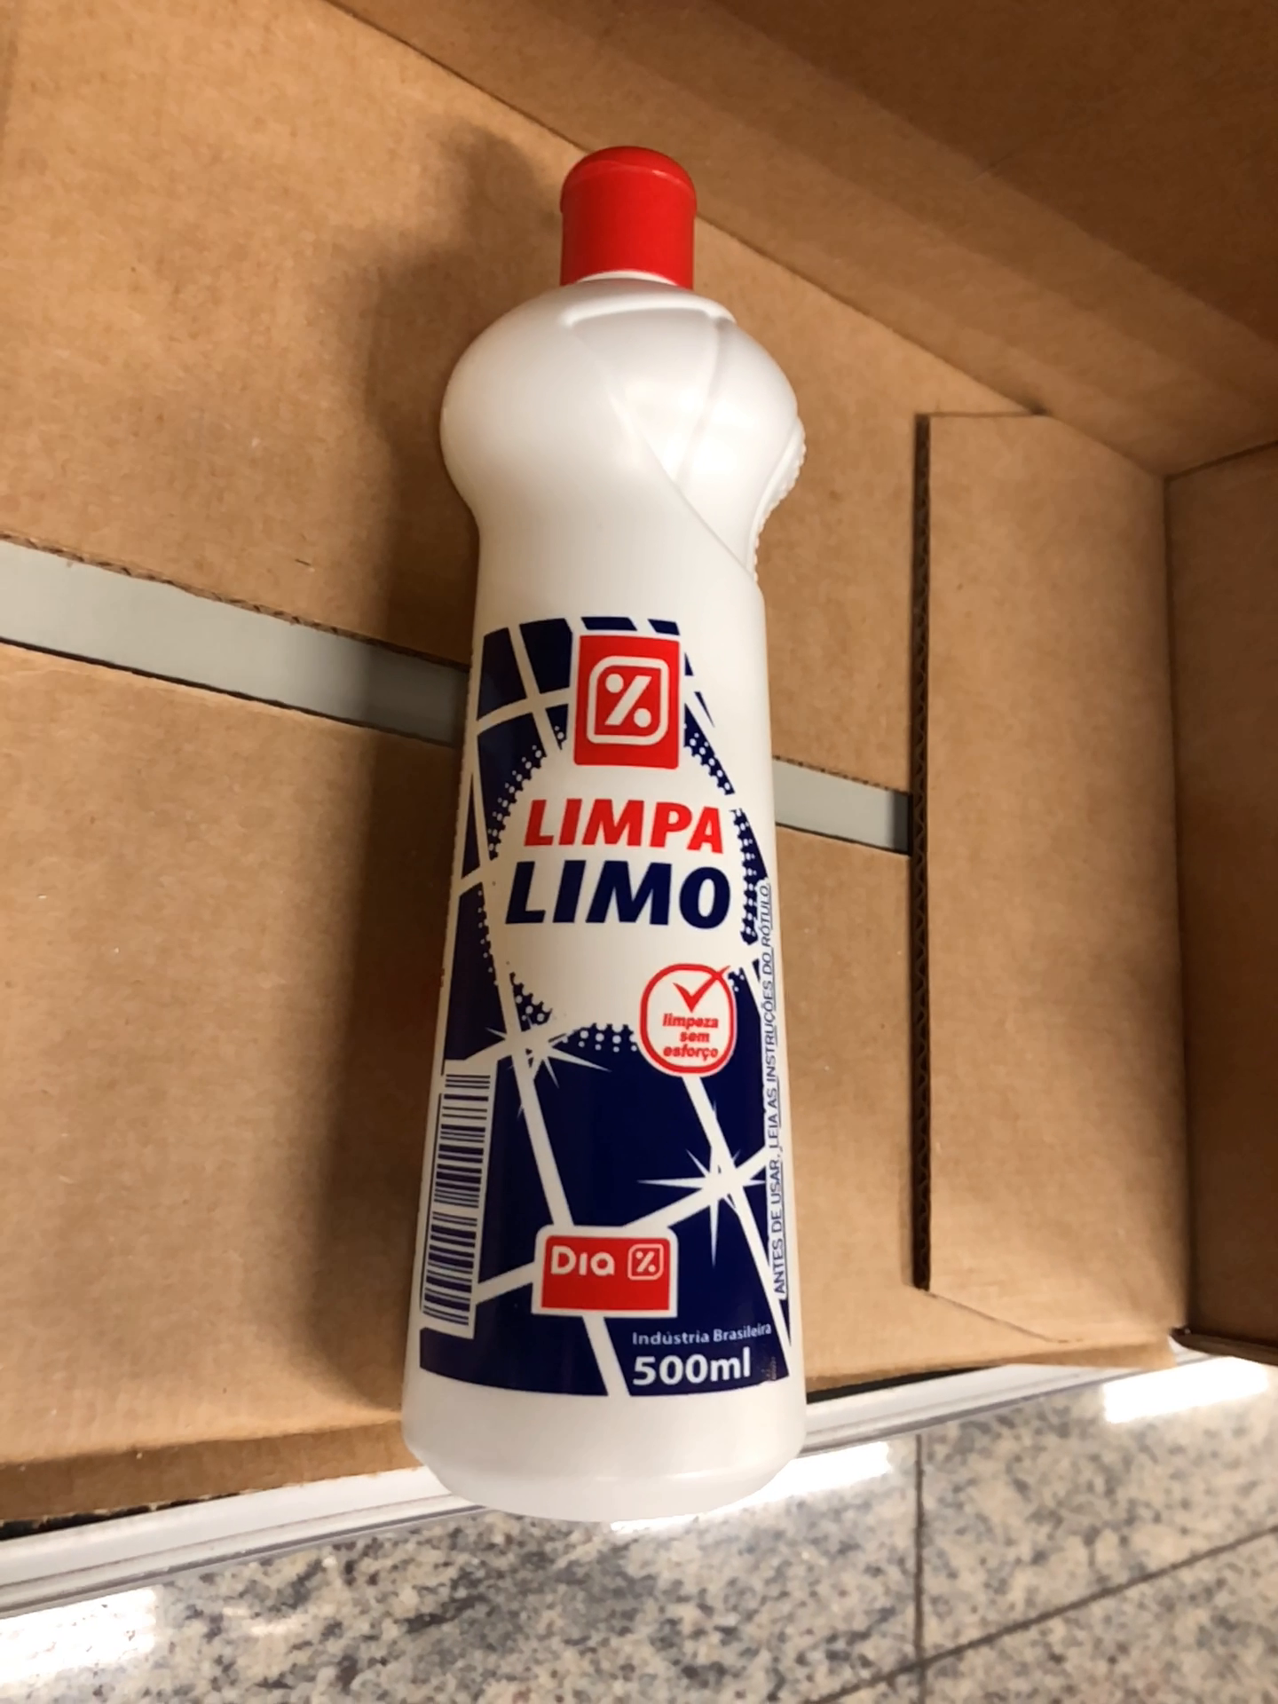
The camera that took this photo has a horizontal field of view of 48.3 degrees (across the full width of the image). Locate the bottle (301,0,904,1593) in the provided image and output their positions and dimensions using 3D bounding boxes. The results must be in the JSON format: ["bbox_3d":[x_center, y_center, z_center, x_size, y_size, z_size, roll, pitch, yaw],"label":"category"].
[{"bbox_3d":[-0.002,-0.025,0.252,0.080,0.060,0.260,7,81,-40],"label":"bottle"}]
